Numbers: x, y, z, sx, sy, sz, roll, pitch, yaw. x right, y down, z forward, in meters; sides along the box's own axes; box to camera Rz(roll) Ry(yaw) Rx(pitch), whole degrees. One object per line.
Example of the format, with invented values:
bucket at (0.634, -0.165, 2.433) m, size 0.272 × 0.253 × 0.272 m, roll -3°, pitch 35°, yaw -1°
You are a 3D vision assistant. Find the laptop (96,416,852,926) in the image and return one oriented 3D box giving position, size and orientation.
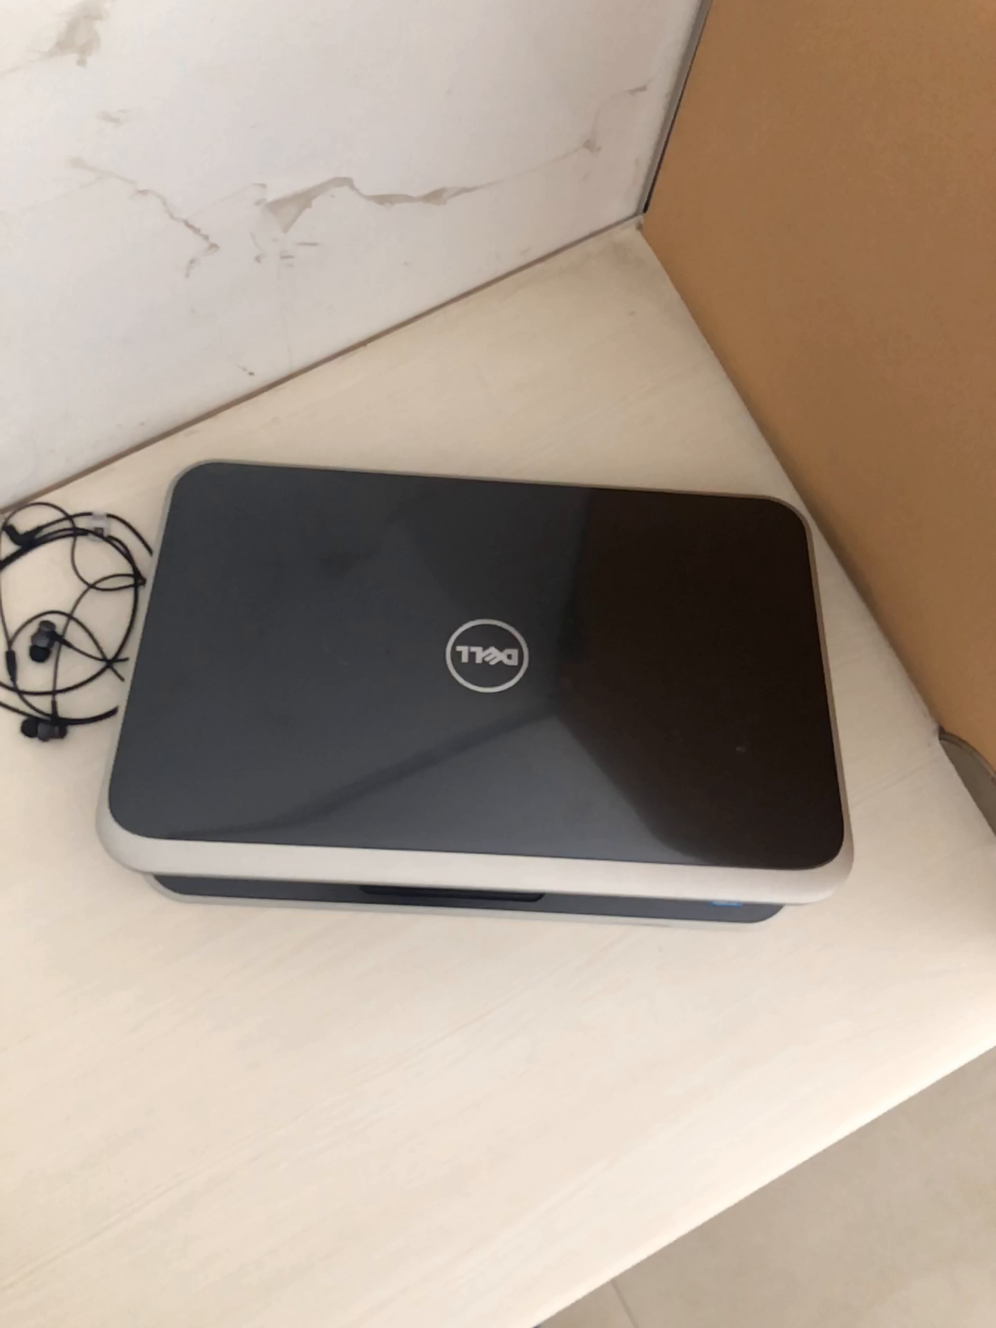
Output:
laptop at (-0.004, 0.007, 0.591) m, size 0.357 × 0.094 × 0.238 m, roll 4°, pitch 78°, yaw -2°
